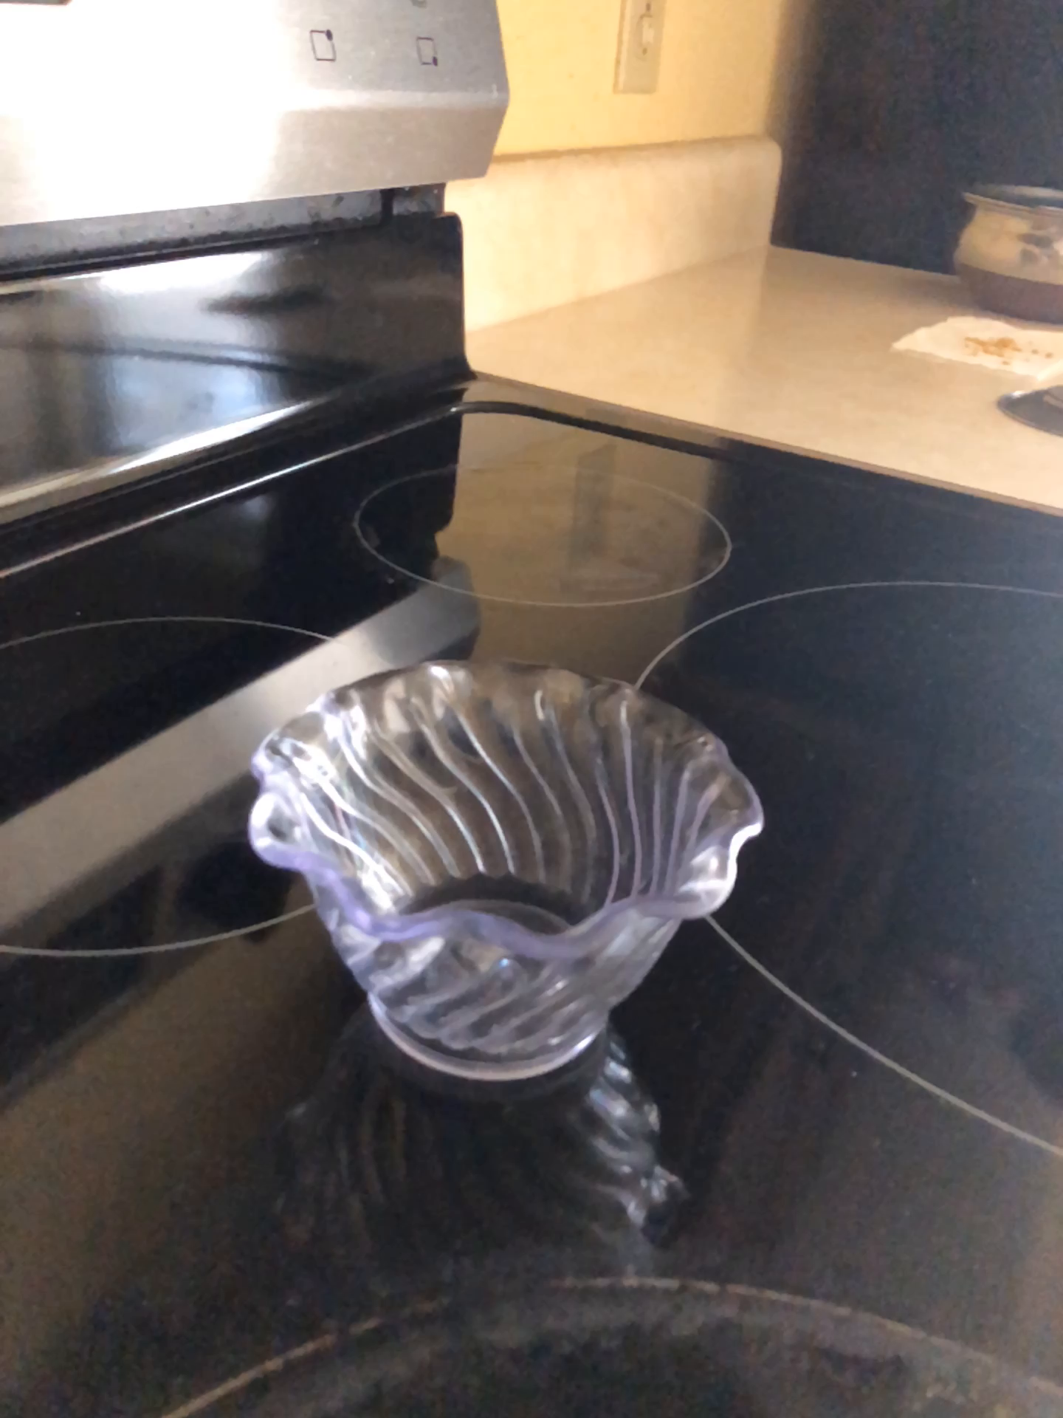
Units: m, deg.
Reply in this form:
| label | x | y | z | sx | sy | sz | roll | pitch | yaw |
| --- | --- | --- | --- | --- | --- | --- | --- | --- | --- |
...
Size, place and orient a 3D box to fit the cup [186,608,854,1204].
| label | x | y | z | sx | sy | sz | roll | pitch | yaw |
| --- | --- | --- | --- | --- | --- | --- | --- | --- | --- |
| cup | -0.007 | 0.028 | 0.229 | 0.091 | 0.049 | 0.091 | 3 | 29 | -2 |
